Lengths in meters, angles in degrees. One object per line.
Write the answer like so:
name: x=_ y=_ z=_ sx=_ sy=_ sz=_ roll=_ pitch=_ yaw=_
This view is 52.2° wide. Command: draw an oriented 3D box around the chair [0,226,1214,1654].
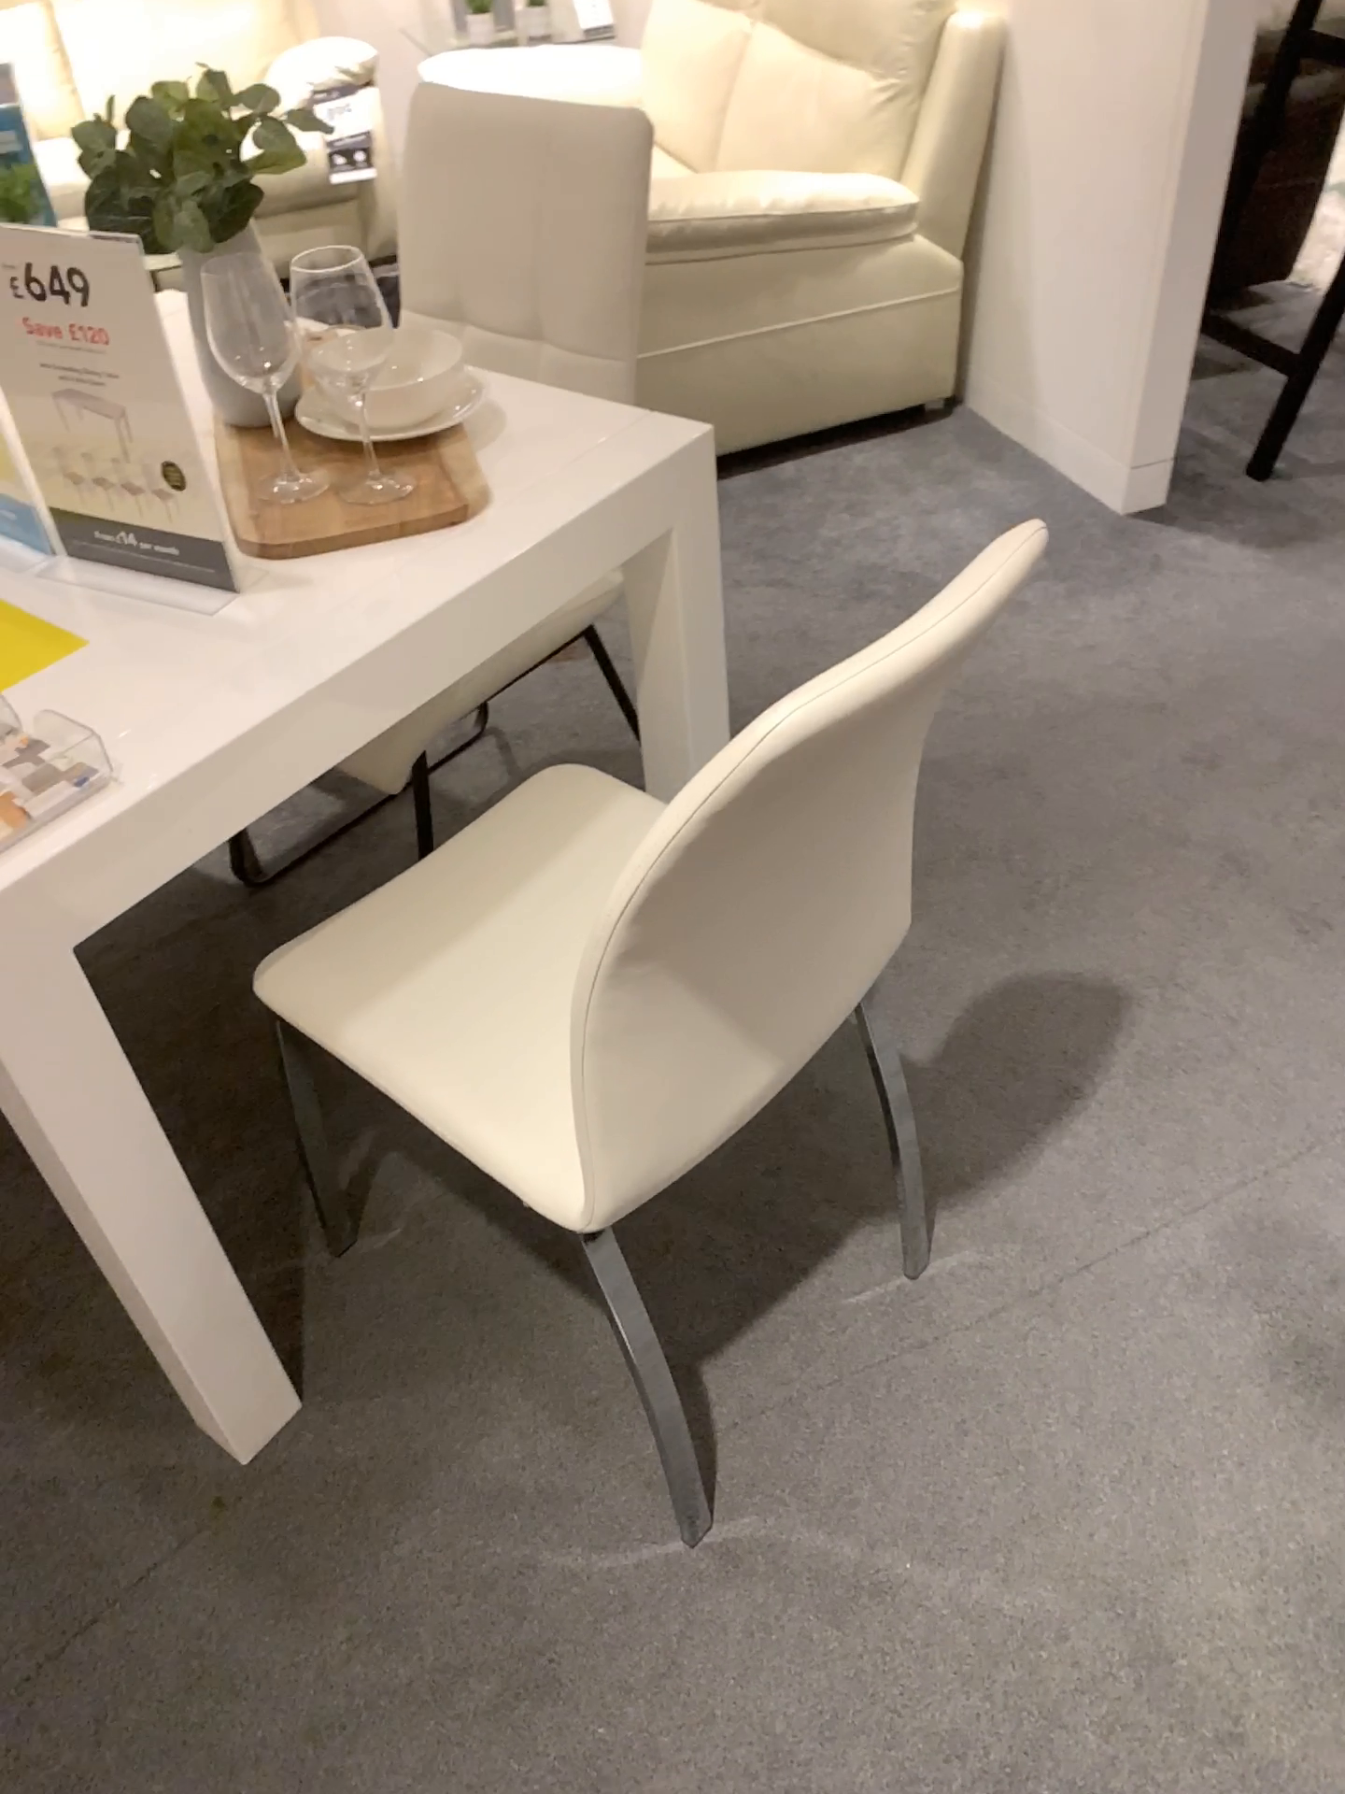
chair: x=-0.045 y=0.048 z=1.185 sx=0.647 sy=0.955 sz=0.481 roll=30 pitch=52 yaw=32
